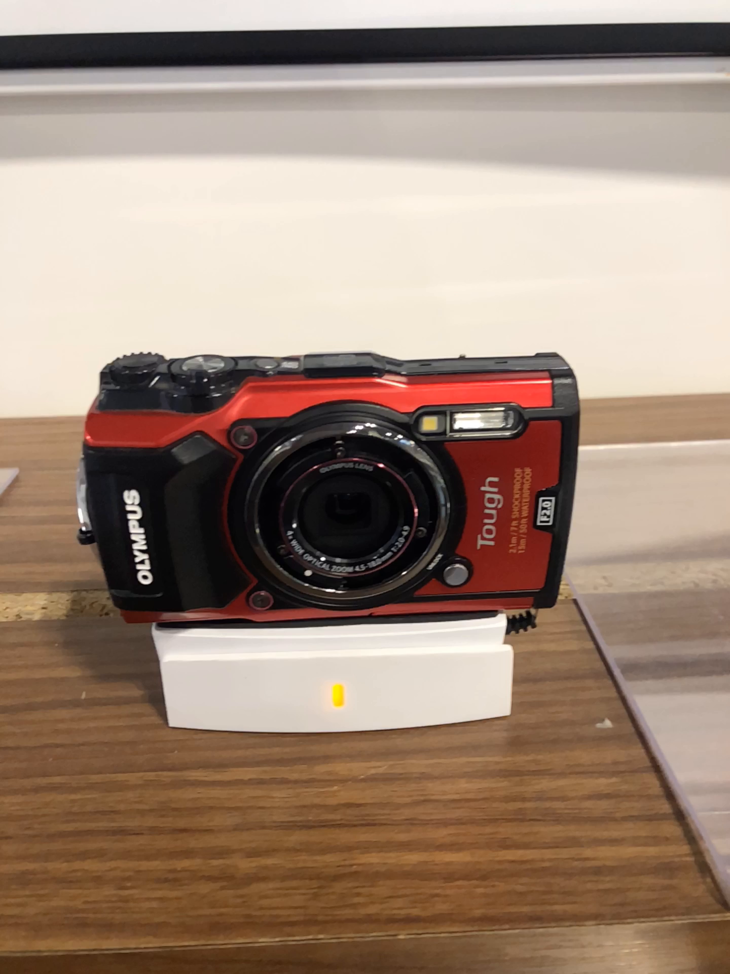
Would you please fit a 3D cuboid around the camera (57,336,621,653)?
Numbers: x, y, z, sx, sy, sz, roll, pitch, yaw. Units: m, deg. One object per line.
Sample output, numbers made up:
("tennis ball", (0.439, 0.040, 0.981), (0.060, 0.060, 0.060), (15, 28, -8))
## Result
("camera", (-0.005, 0.002, 0.201), (0.120, 0.070, 0.030), (-1, 25, 0))
